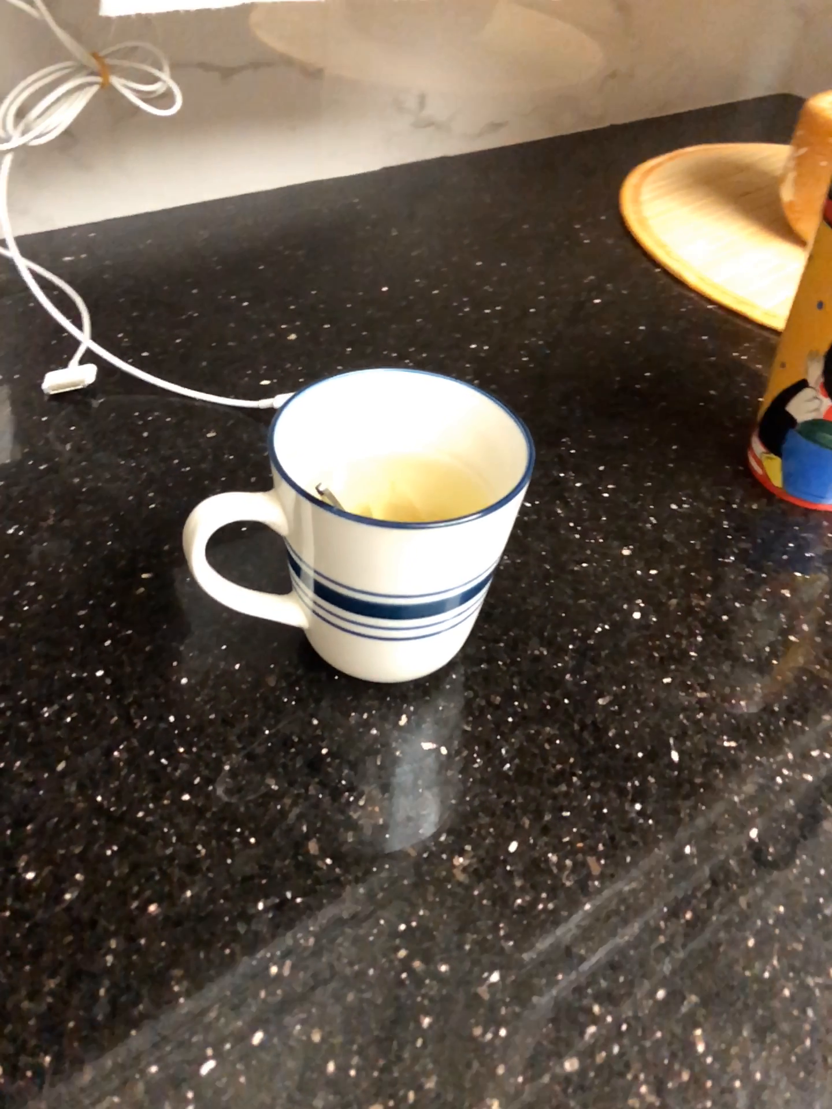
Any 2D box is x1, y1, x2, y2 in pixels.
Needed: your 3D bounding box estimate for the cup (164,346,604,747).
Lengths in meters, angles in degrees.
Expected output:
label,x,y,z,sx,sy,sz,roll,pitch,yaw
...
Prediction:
label,x,y,z,sx,sy,sz,roll,pitch,yaw
cup,-0.016,-0.006,0.322,0.120,0.089,0.080,-12,46,-19
